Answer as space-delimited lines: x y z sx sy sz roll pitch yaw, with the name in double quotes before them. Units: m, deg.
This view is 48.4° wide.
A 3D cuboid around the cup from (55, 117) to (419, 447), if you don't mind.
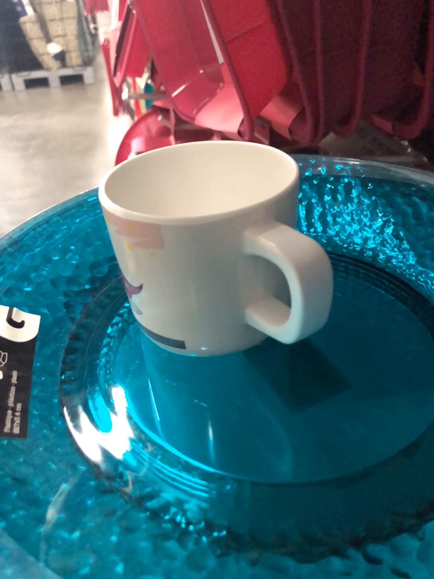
"cup" 0.003 -0.014 0.182 0.075 0.064 0.102 -28 42 -29
